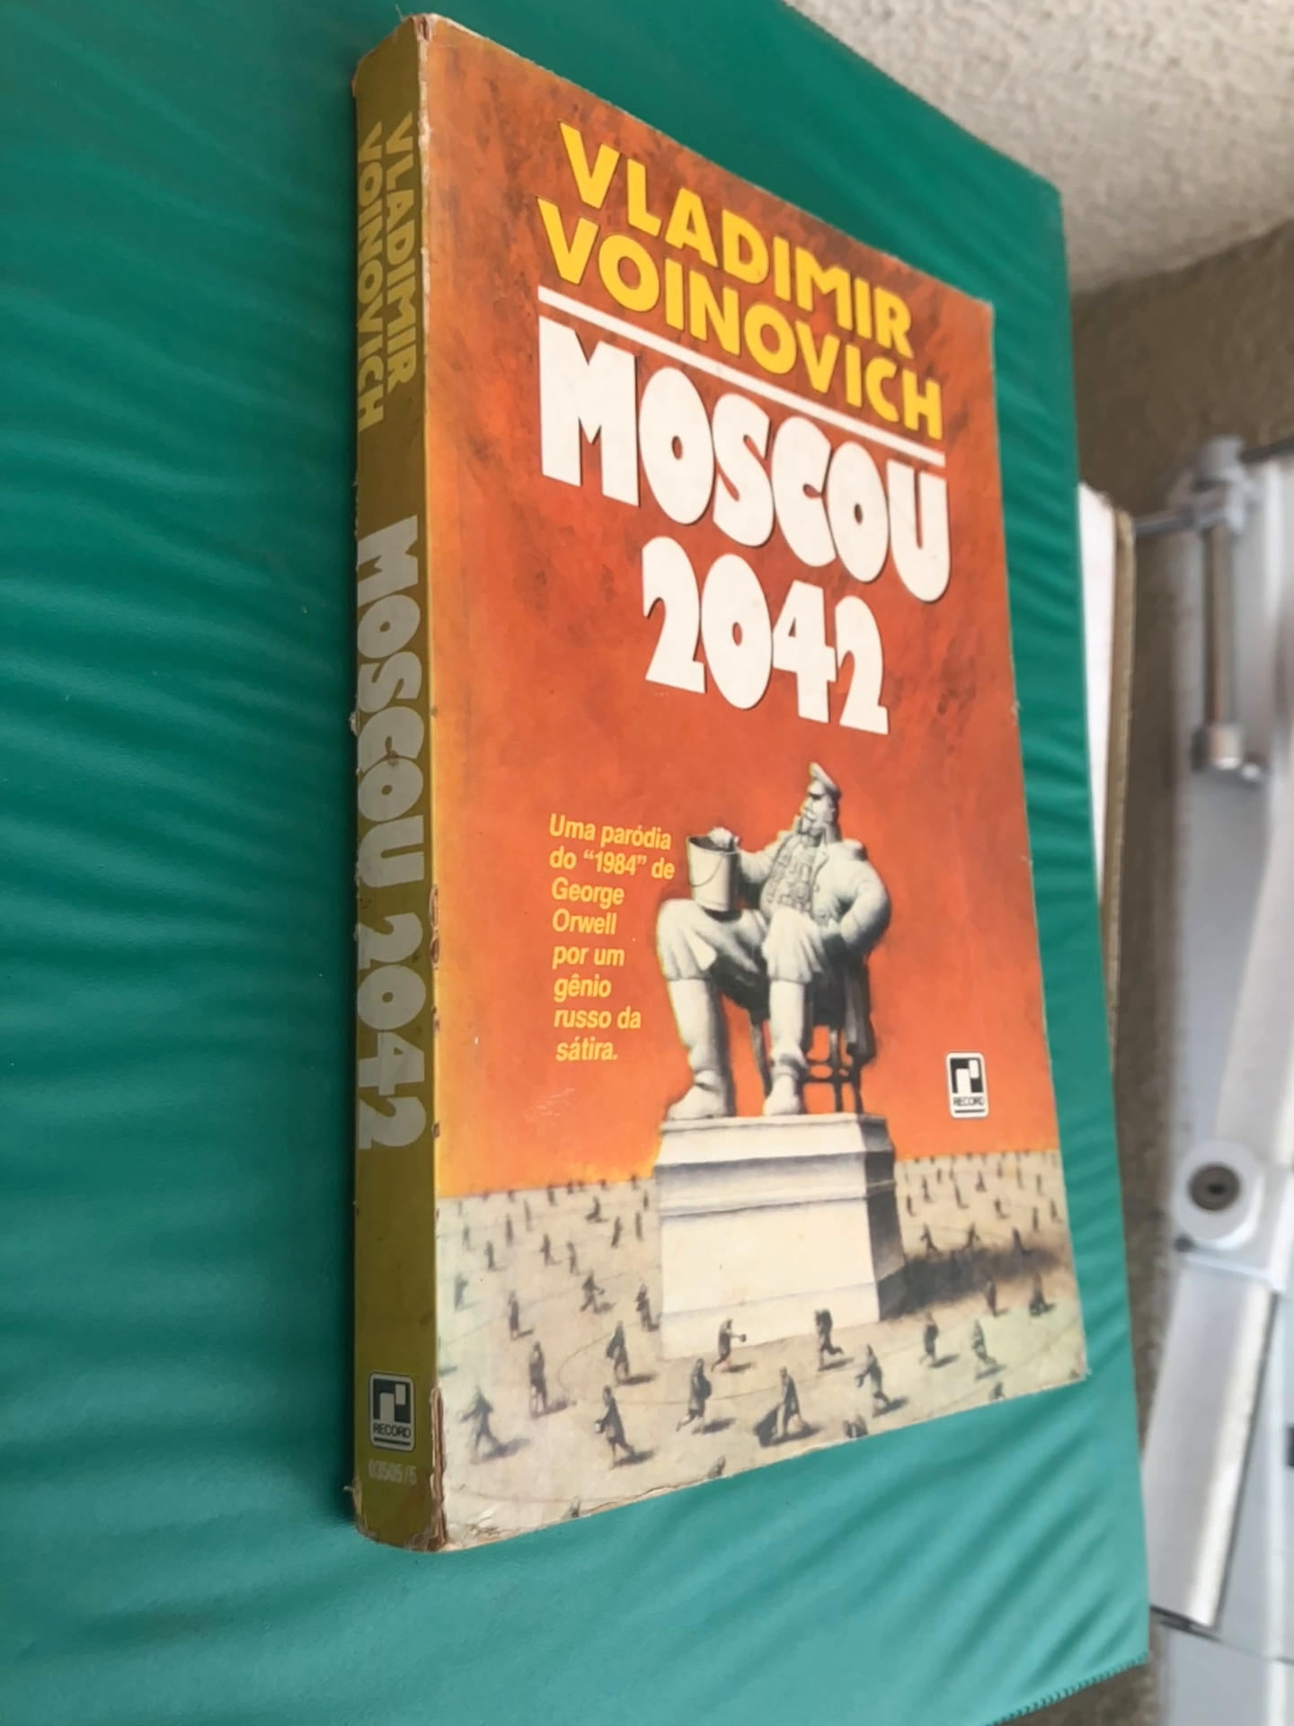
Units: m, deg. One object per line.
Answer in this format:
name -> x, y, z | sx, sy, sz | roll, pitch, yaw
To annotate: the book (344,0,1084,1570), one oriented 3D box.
book -> 0.016, -0.014, 0.231 | 0.133, 0.020, 0.203 | 6, 77, -42
